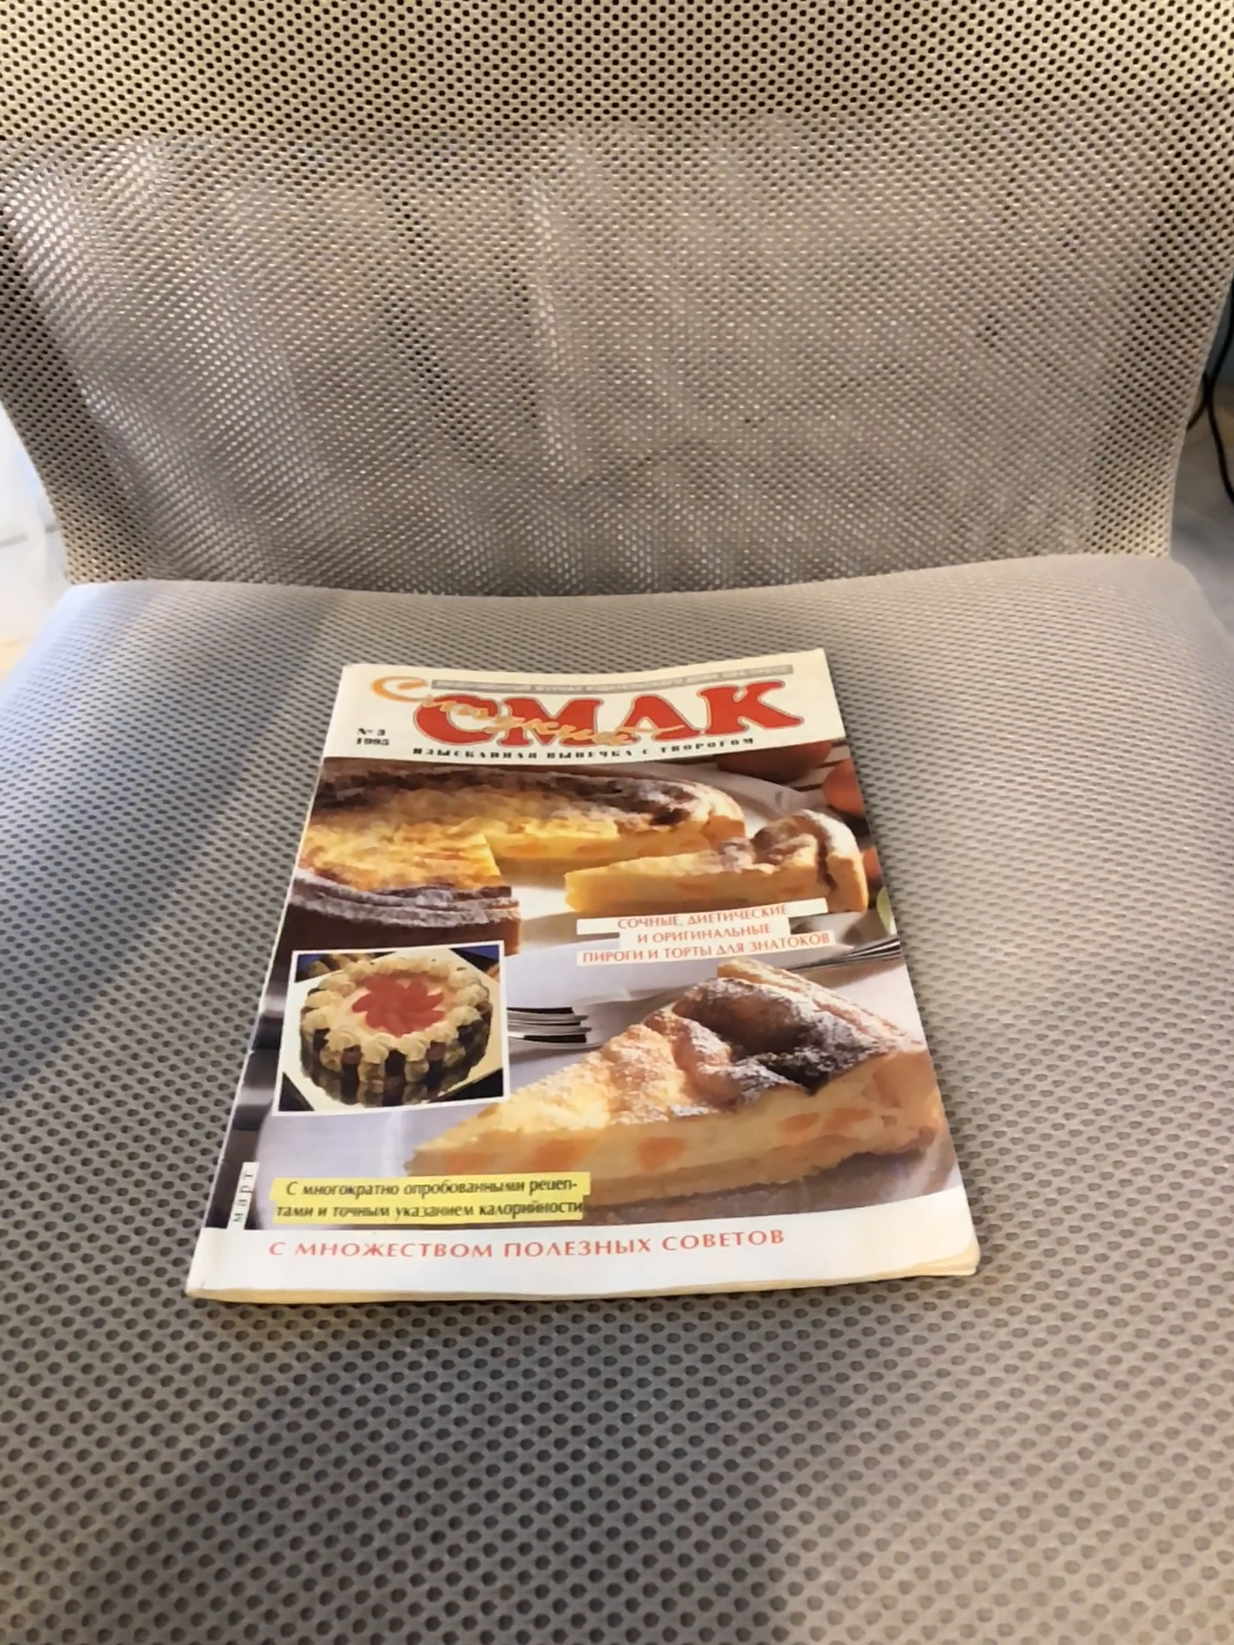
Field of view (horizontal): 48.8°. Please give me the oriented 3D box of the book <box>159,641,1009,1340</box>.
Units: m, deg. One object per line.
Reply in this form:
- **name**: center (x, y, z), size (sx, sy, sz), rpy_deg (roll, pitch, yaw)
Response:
- **book**: center (-0.009, 0.024, 0.368), size (0.174, 0.010, 0.232), rpy_deg (-3, 41, 1)
